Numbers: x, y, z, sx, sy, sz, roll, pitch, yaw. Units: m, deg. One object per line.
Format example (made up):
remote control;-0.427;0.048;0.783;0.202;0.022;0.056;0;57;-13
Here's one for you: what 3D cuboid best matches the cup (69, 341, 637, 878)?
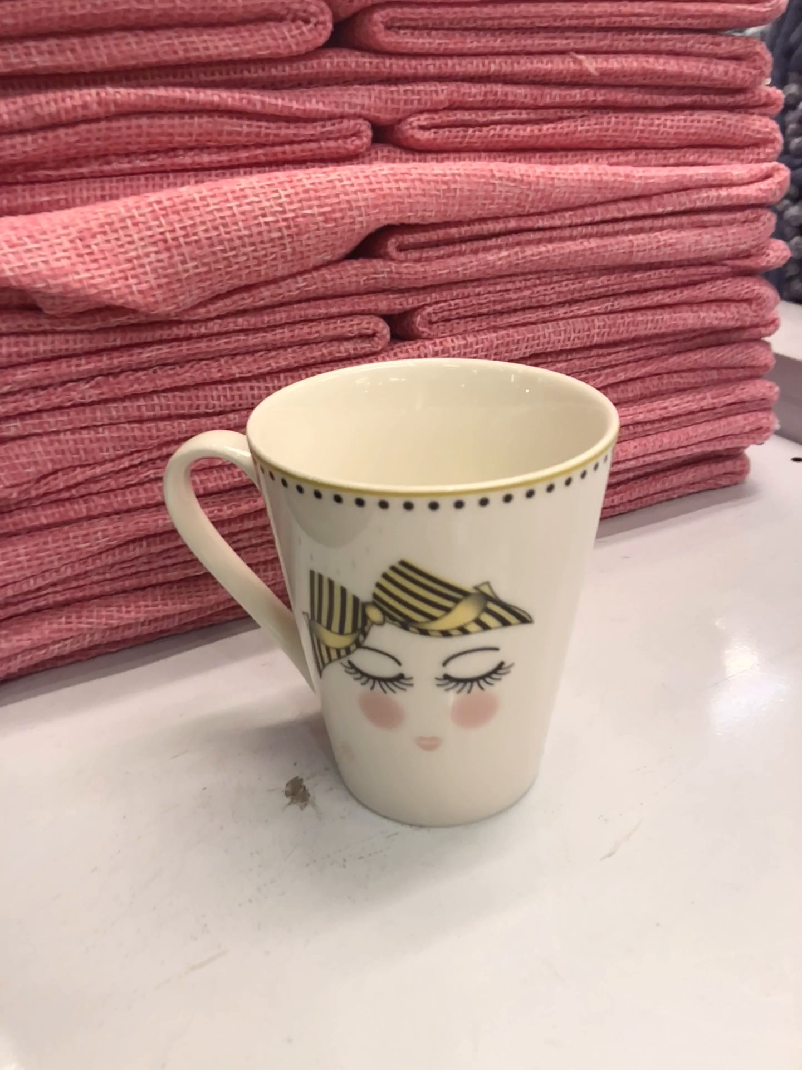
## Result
cup;-0.002;0.013;0.231;0.110;0.099;0.091;1;28;10
